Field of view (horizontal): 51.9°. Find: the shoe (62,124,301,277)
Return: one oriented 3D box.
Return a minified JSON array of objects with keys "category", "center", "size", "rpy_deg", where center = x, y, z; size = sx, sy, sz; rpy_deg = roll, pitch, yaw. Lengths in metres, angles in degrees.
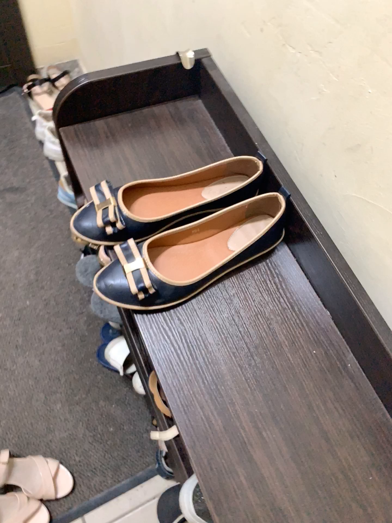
[{"category":"shoe","center":[-0.018,-0.086,0.543],"size":[0.280,0.100,0.100],"rpy_deg":[-17,61,-16]}]

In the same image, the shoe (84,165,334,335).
[{"category":"shoe","center":[0.017,-0.019,0.516],"size":[0.280,0.100,0.100],"rpy_deg":[-19,61,-17]}]
